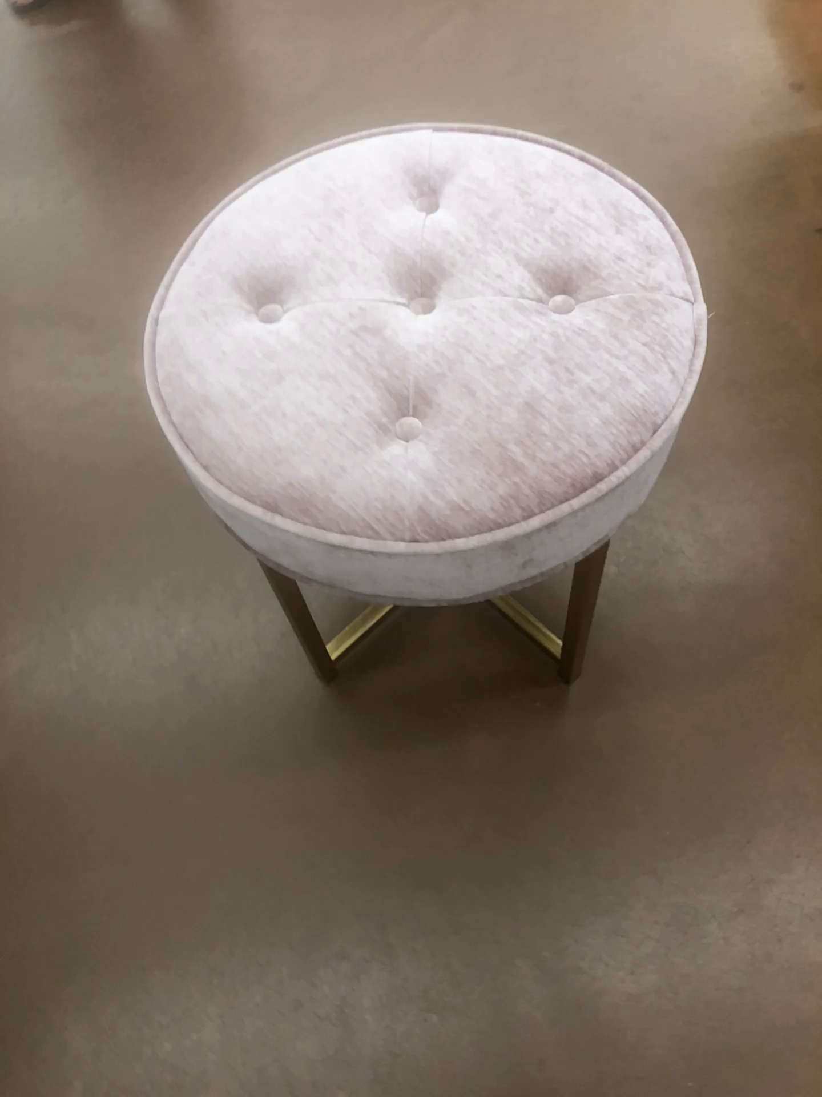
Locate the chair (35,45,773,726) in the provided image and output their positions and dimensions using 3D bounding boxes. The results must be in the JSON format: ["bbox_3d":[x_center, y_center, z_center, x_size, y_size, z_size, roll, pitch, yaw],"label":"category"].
[{"bbox_3d":[-0.002,-0.125,0.856,0.470,0.389,0.451,-4,61,3],"label":"chair"}]
